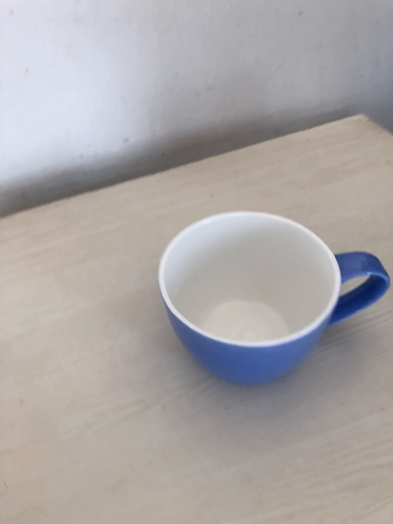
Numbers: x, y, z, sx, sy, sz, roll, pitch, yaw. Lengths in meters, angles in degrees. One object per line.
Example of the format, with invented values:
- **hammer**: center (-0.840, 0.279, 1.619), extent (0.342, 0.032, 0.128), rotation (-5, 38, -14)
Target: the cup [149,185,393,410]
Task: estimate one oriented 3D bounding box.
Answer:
- **cup**: center (0.053, 0.019, 0.280), extent (0.150, 0.070, 0.101), rotation (-9, 45, -3)
